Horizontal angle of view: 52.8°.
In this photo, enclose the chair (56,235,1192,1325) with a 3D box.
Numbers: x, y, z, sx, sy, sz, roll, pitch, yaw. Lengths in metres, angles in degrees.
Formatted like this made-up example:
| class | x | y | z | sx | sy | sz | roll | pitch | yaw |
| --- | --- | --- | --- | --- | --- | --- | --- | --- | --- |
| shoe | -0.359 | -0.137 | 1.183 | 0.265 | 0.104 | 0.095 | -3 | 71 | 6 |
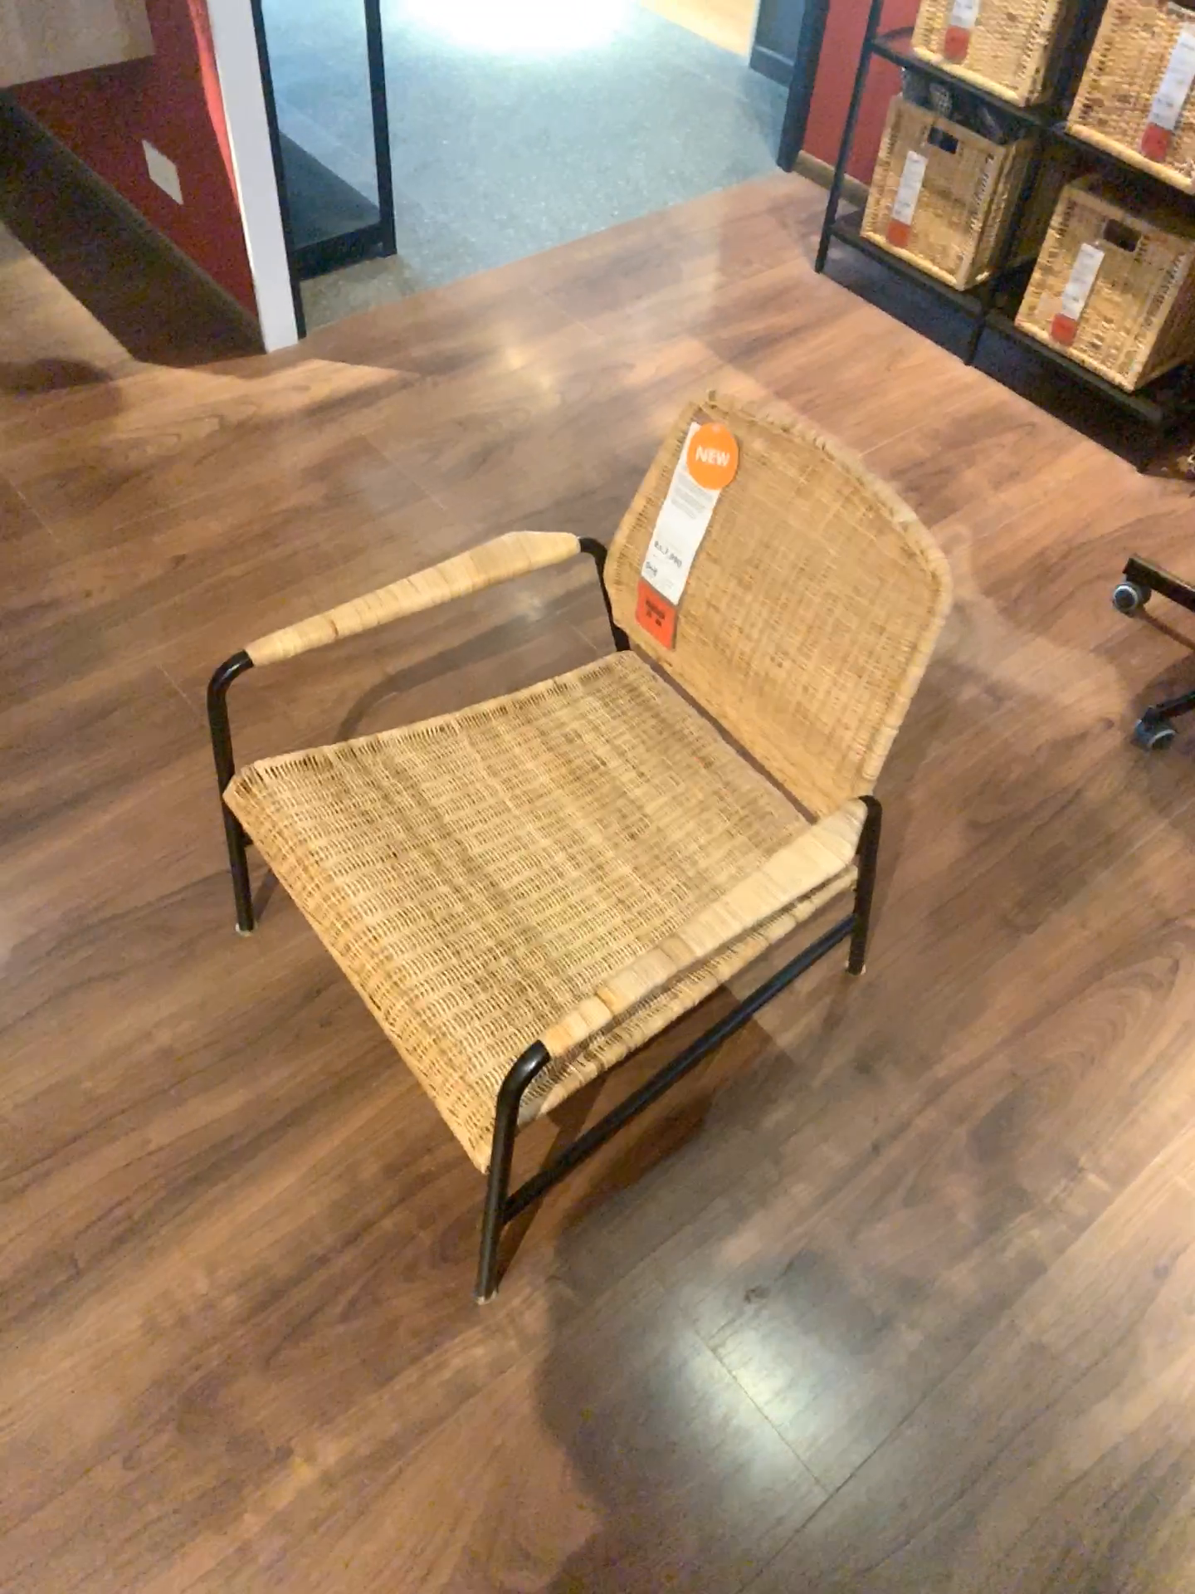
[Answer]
| class | x | y | z | sx | sy | sz | roll | pitch | yaw |
| --- | --- | --- | --- | --- | --- | --- | --- | --- | --- |
| chair | -0.001 | -0.038 | 1.414 | 0.791 | 0.758 | 0.711 | -29 | 59 | -25 |
